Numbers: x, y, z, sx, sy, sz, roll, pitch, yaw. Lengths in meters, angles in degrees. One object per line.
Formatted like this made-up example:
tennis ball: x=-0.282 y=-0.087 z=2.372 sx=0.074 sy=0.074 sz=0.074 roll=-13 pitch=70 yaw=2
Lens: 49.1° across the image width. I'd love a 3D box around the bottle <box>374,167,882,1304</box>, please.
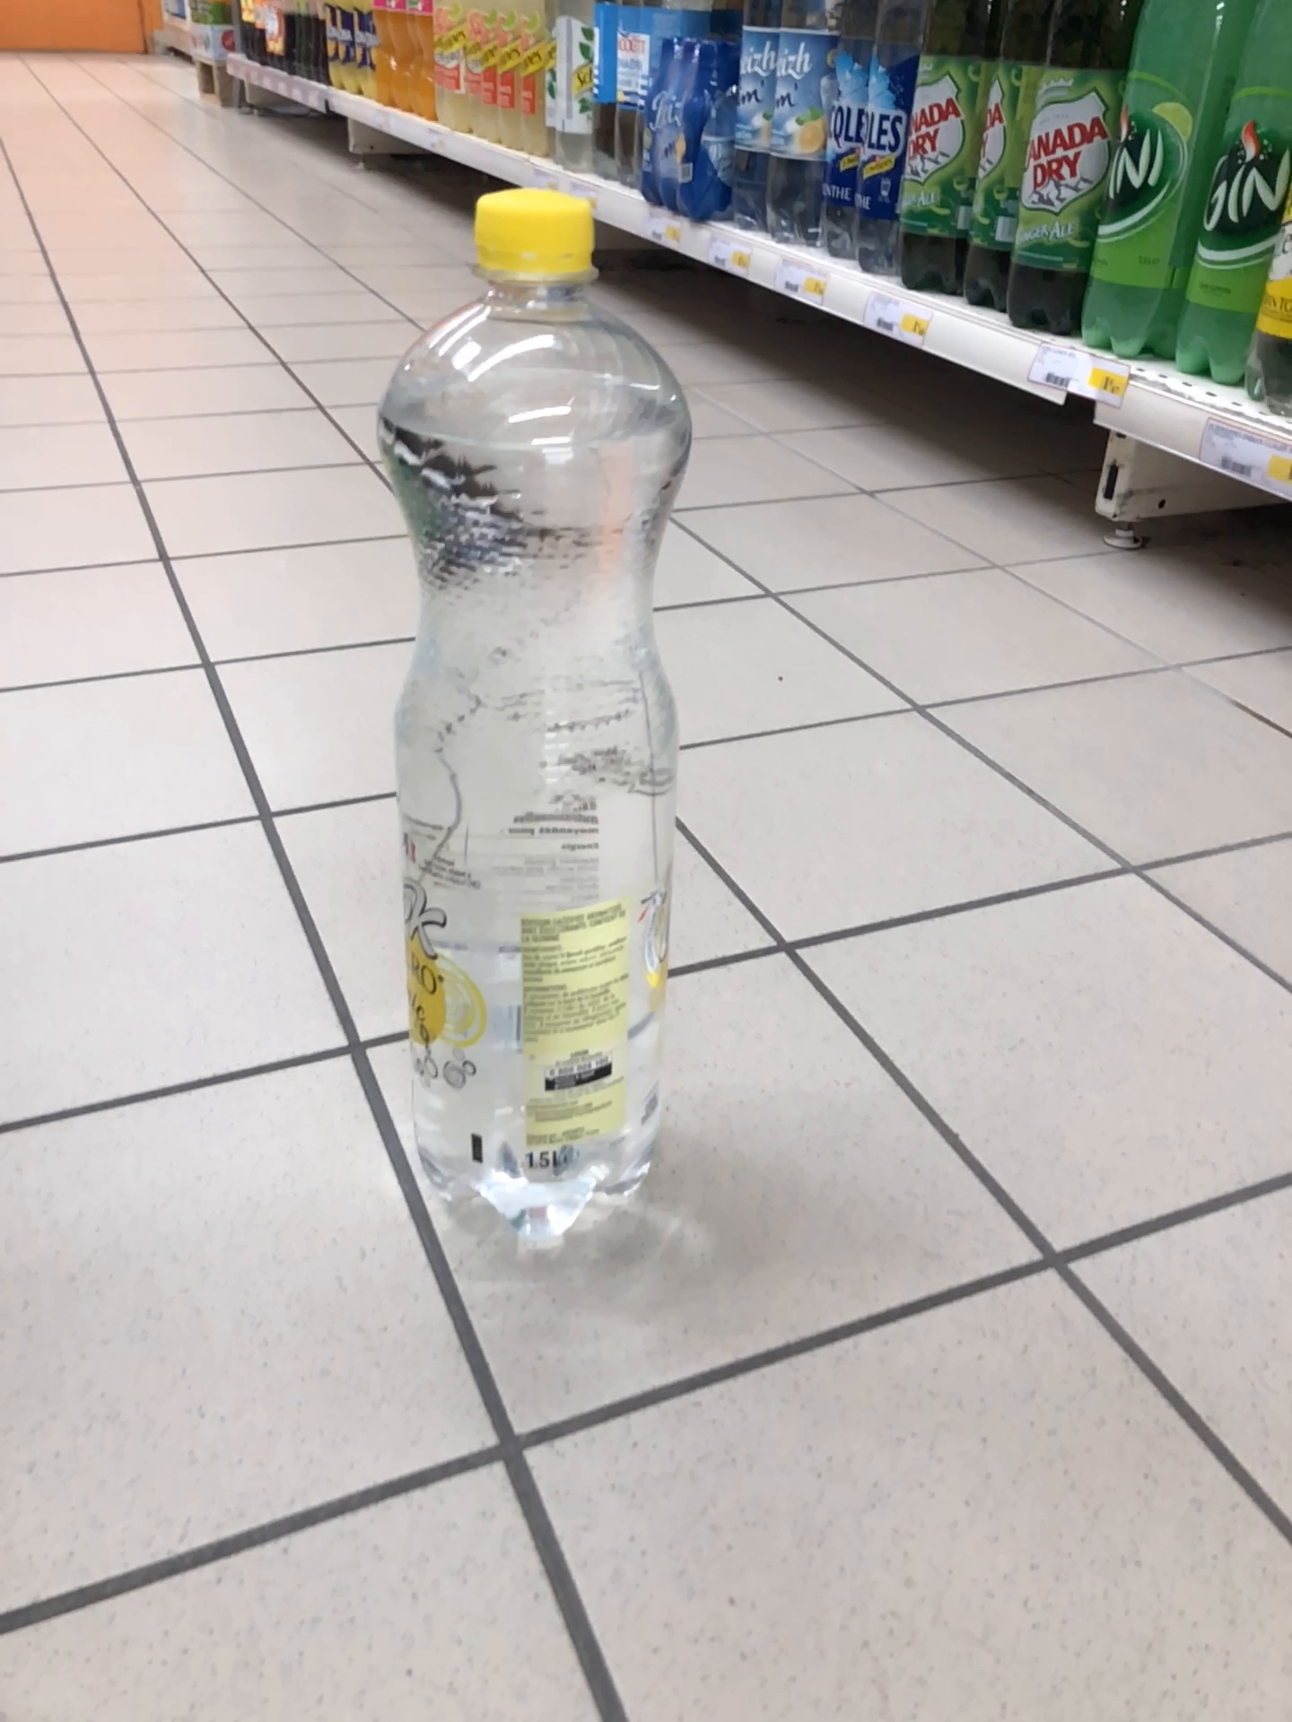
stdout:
bottle: x=-0.016 y=-0.027 z=0.426 sx=0.100 sy=0.318 sz=0.100 roll=2 pitch=30 yaw=-1
